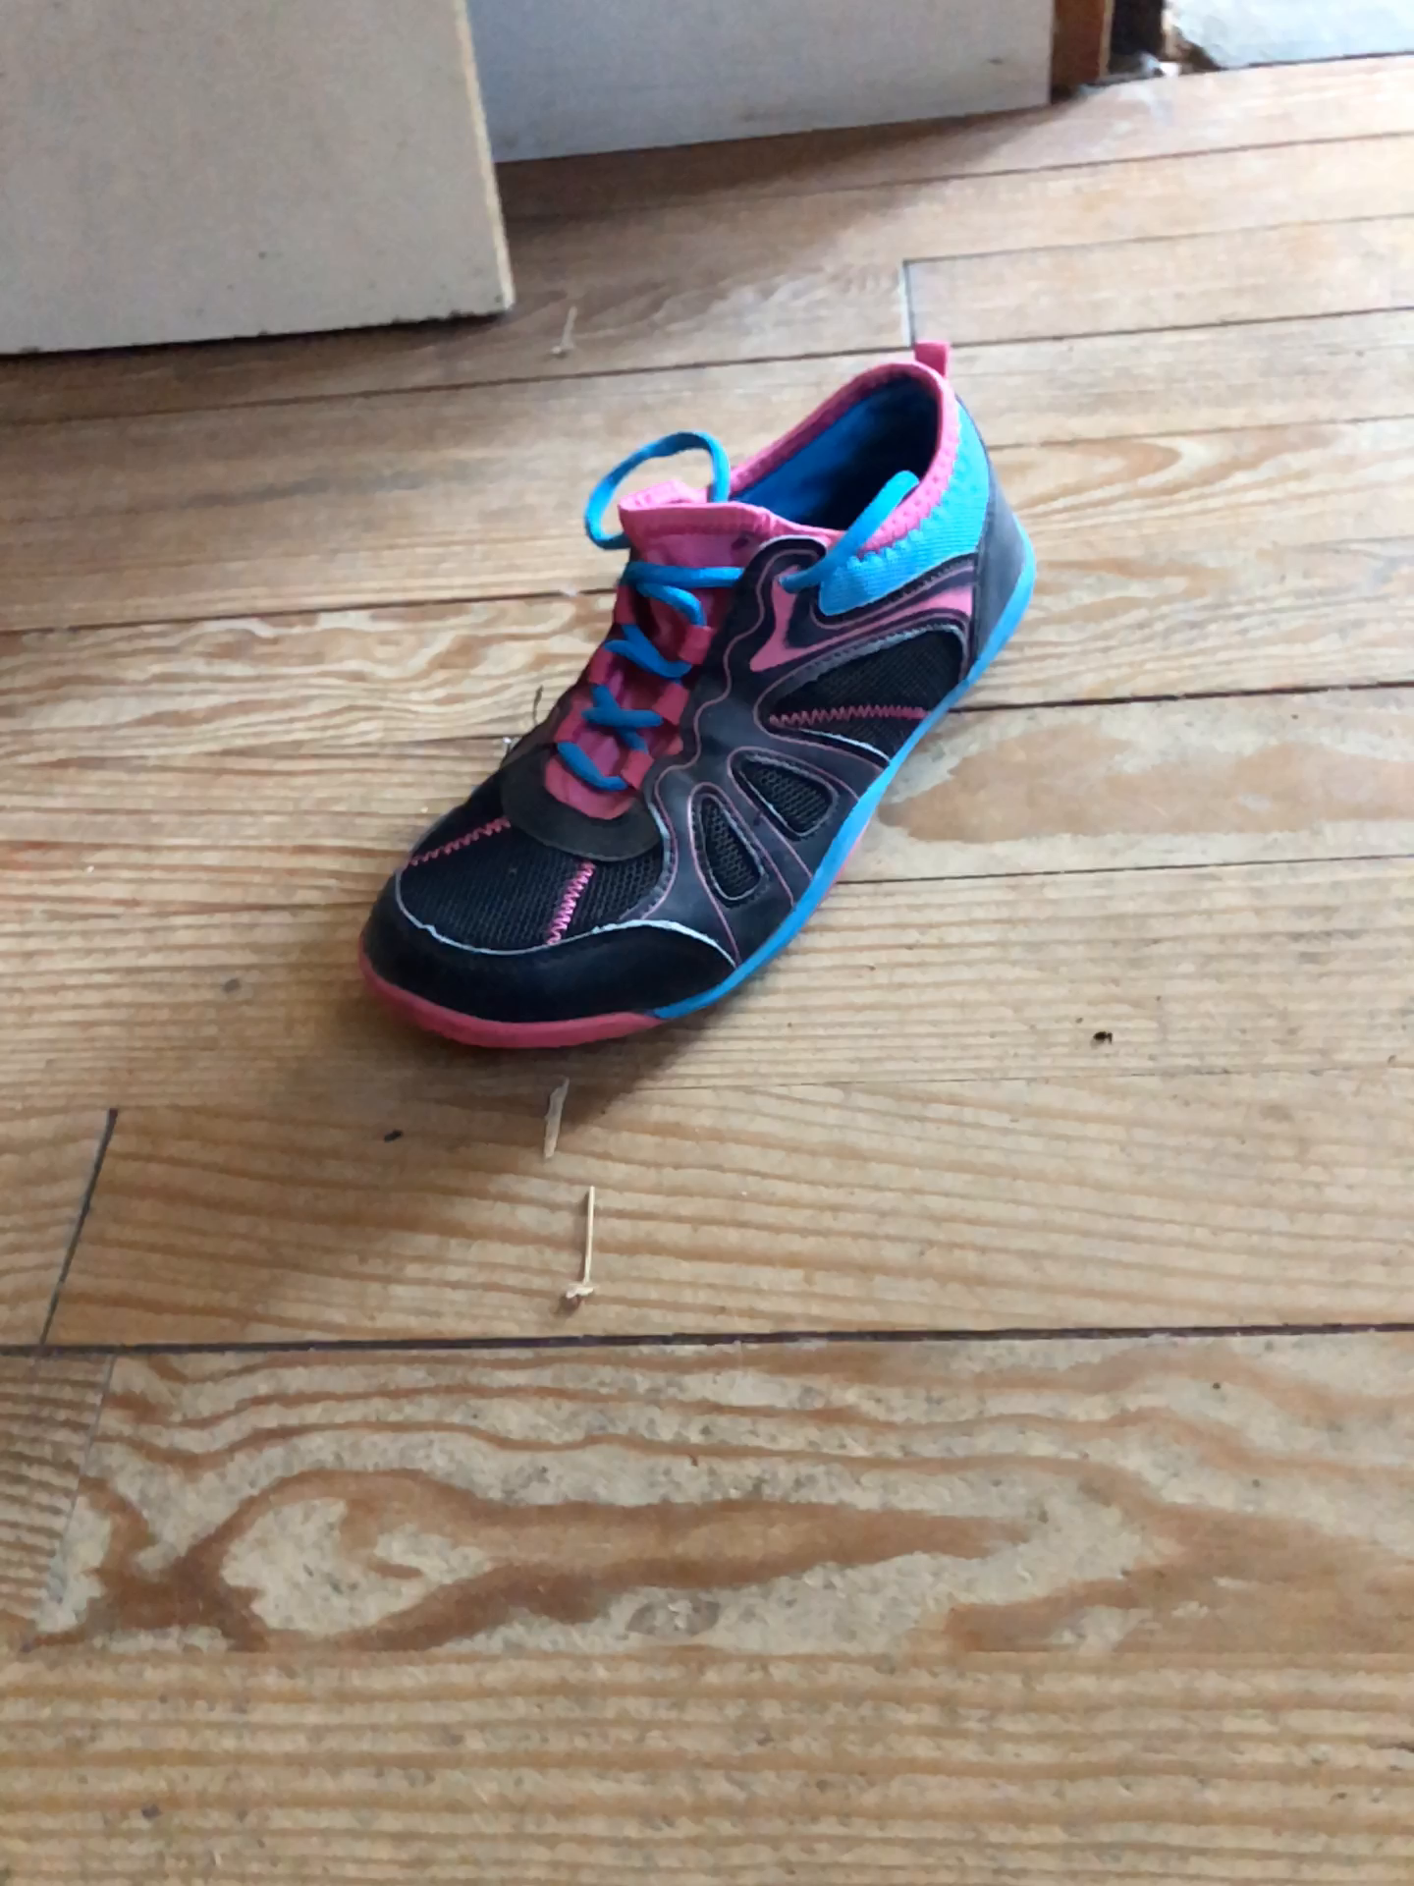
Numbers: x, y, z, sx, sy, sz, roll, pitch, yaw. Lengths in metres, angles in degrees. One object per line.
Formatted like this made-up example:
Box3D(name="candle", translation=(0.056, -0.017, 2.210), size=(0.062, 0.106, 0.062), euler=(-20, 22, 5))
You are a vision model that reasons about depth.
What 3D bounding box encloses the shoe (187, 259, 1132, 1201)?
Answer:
Box3D(name="shoe", translation=(0.003, -0.074, 0.444), size=(0.110, 0.100, 0.261), euler=(28, 59, 26))
